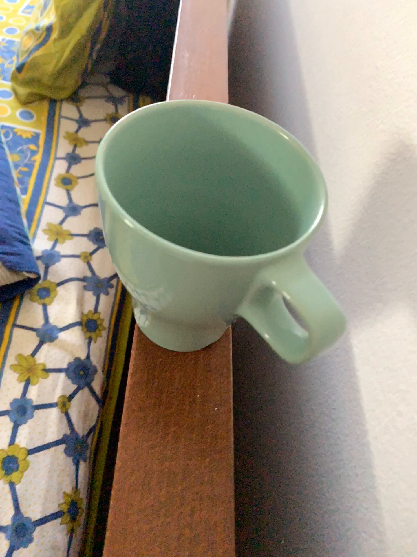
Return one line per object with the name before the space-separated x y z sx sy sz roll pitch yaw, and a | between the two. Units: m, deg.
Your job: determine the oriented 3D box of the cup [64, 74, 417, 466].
cup | 0.009 -0.005 0.191 0.082 0.091 0.123 -29 66 -25
